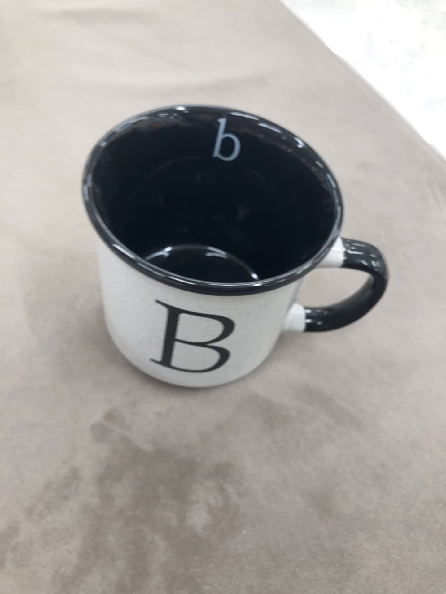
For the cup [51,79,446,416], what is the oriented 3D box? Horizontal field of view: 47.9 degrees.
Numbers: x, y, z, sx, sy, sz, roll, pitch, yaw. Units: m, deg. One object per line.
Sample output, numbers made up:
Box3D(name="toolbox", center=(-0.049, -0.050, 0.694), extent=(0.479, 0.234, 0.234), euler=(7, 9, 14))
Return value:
Box3D(name="cup", center=(0.017, -0.019, 0.232), extent=(0.150, 0.090, 0.101), euler=(8, 53, -4))
